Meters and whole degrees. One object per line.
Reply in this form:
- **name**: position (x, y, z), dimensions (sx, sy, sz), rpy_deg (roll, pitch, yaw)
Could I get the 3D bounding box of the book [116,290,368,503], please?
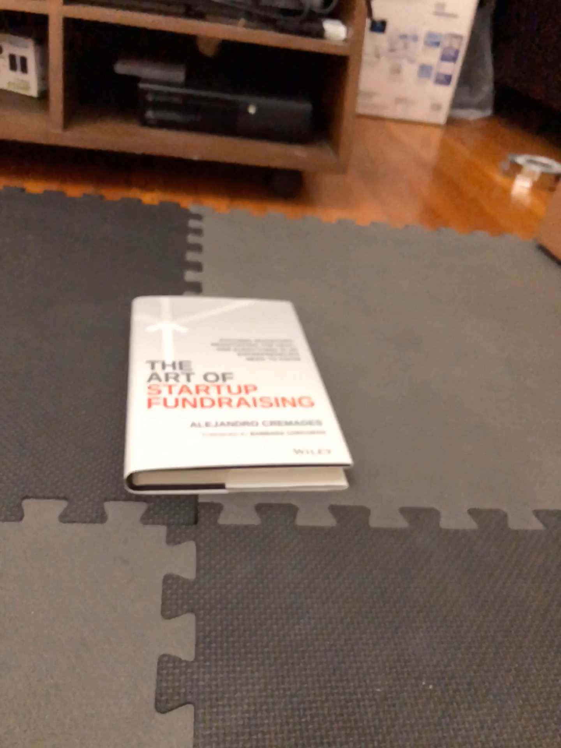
- **book**: position (-0.043, 0.004, 0.529), dimensions (0.170, 0.030, 0.251), rpy_deg (1, 34, -11)
